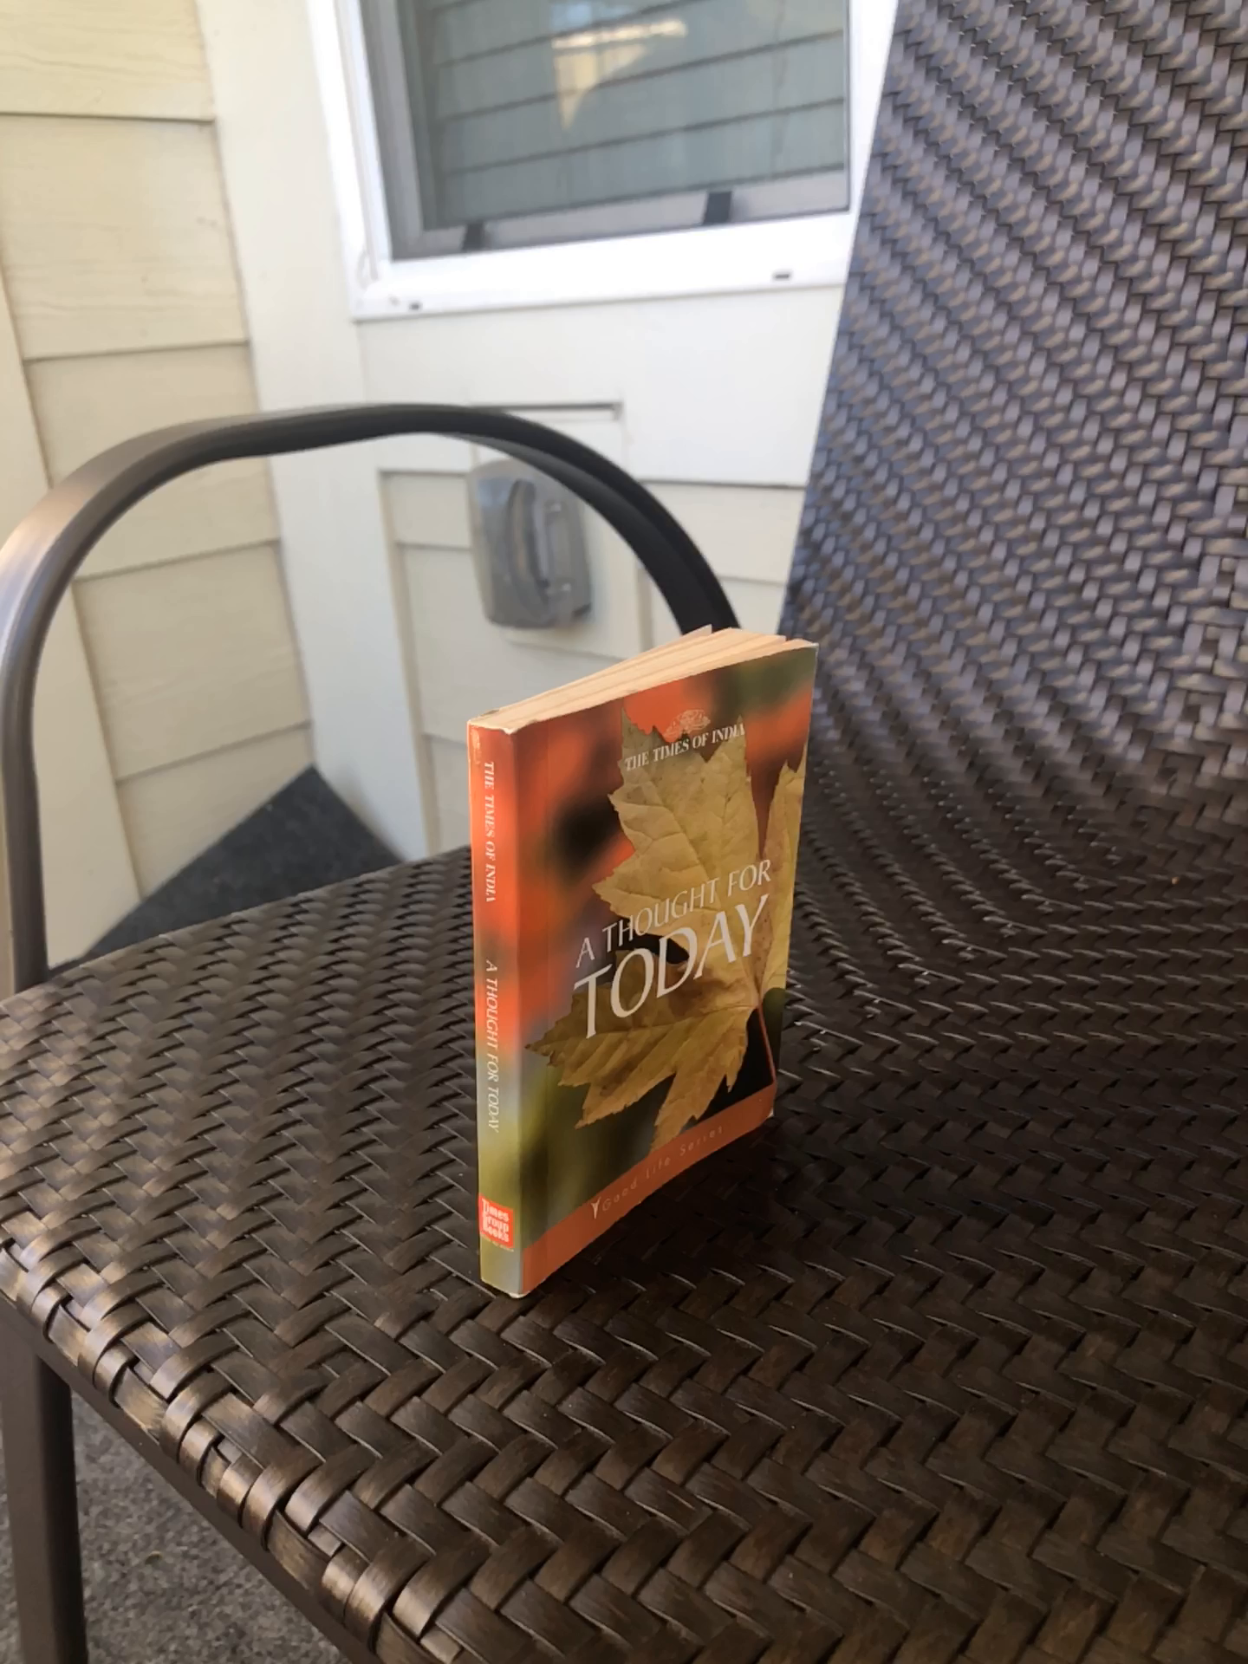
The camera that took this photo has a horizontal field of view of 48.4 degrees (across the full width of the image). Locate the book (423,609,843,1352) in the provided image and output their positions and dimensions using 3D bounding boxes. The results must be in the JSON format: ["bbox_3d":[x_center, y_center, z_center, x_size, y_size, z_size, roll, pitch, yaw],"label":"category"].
[{"bbox_3d":[0.008,0.027,0.309,0.031,0.128,0.106,14,27,33],"label":"book"}]
